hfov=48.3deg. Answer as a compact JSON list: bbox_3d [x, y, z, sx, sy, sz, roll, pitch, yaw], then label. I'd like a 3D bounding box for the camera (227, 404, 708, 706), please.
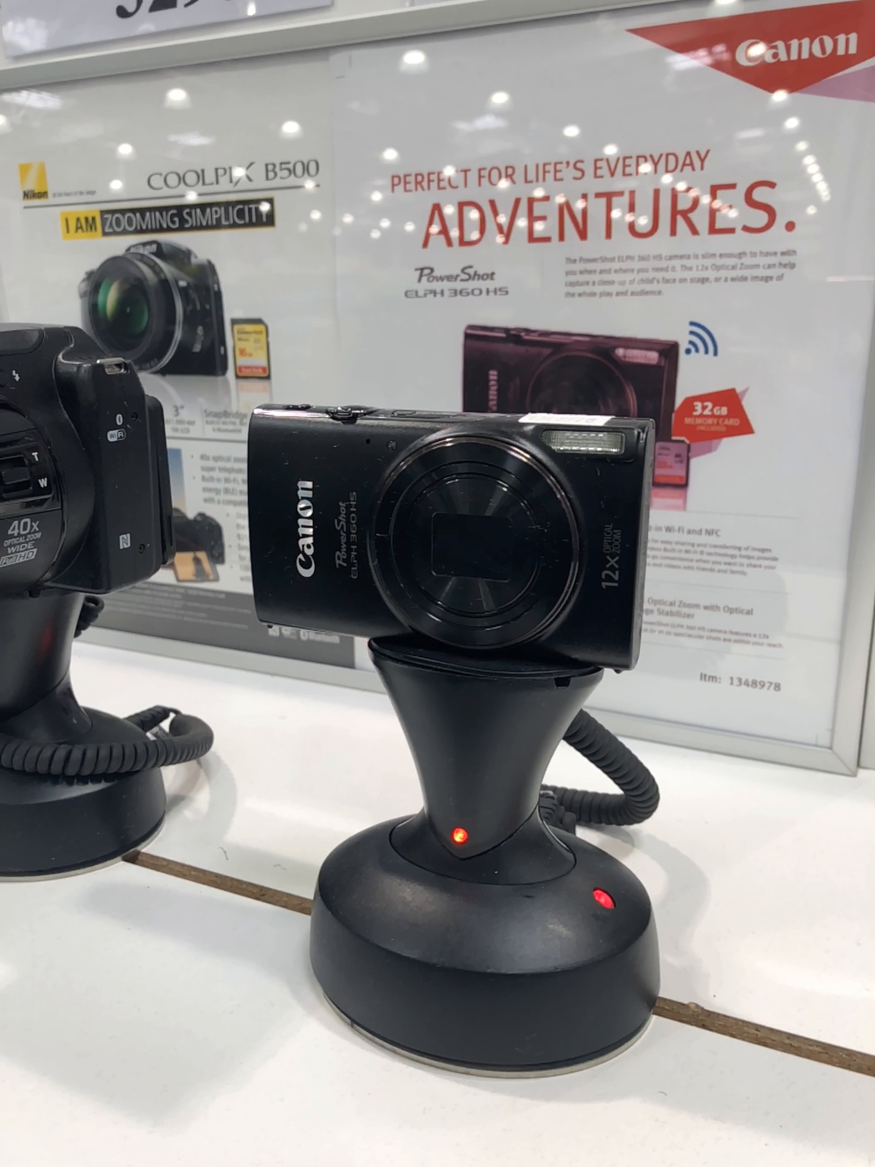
[{"bbox_3d":[0.007,-0.012,0.246,0.110,0.060,0.040,5,16,22],"label":"camera"}]
